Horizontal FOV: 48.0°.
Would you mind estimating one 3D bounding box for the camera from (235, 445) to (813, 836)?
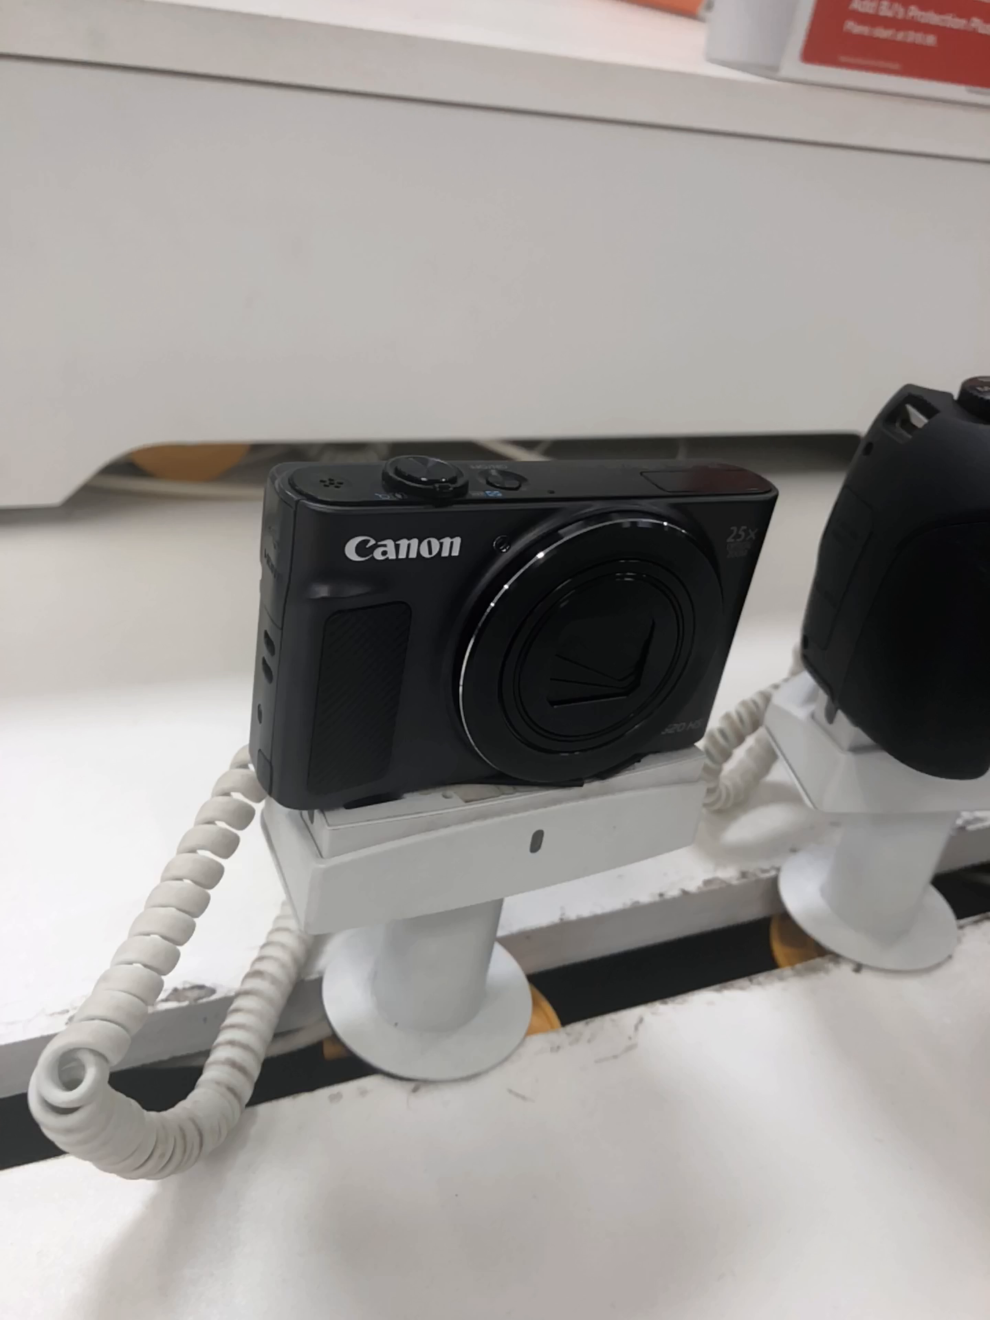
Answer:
[{"bbox_3d":[0.005,-0.006,0.200,0.093,0.057,0.025,-6,36,-27],"label":"camera"}]
